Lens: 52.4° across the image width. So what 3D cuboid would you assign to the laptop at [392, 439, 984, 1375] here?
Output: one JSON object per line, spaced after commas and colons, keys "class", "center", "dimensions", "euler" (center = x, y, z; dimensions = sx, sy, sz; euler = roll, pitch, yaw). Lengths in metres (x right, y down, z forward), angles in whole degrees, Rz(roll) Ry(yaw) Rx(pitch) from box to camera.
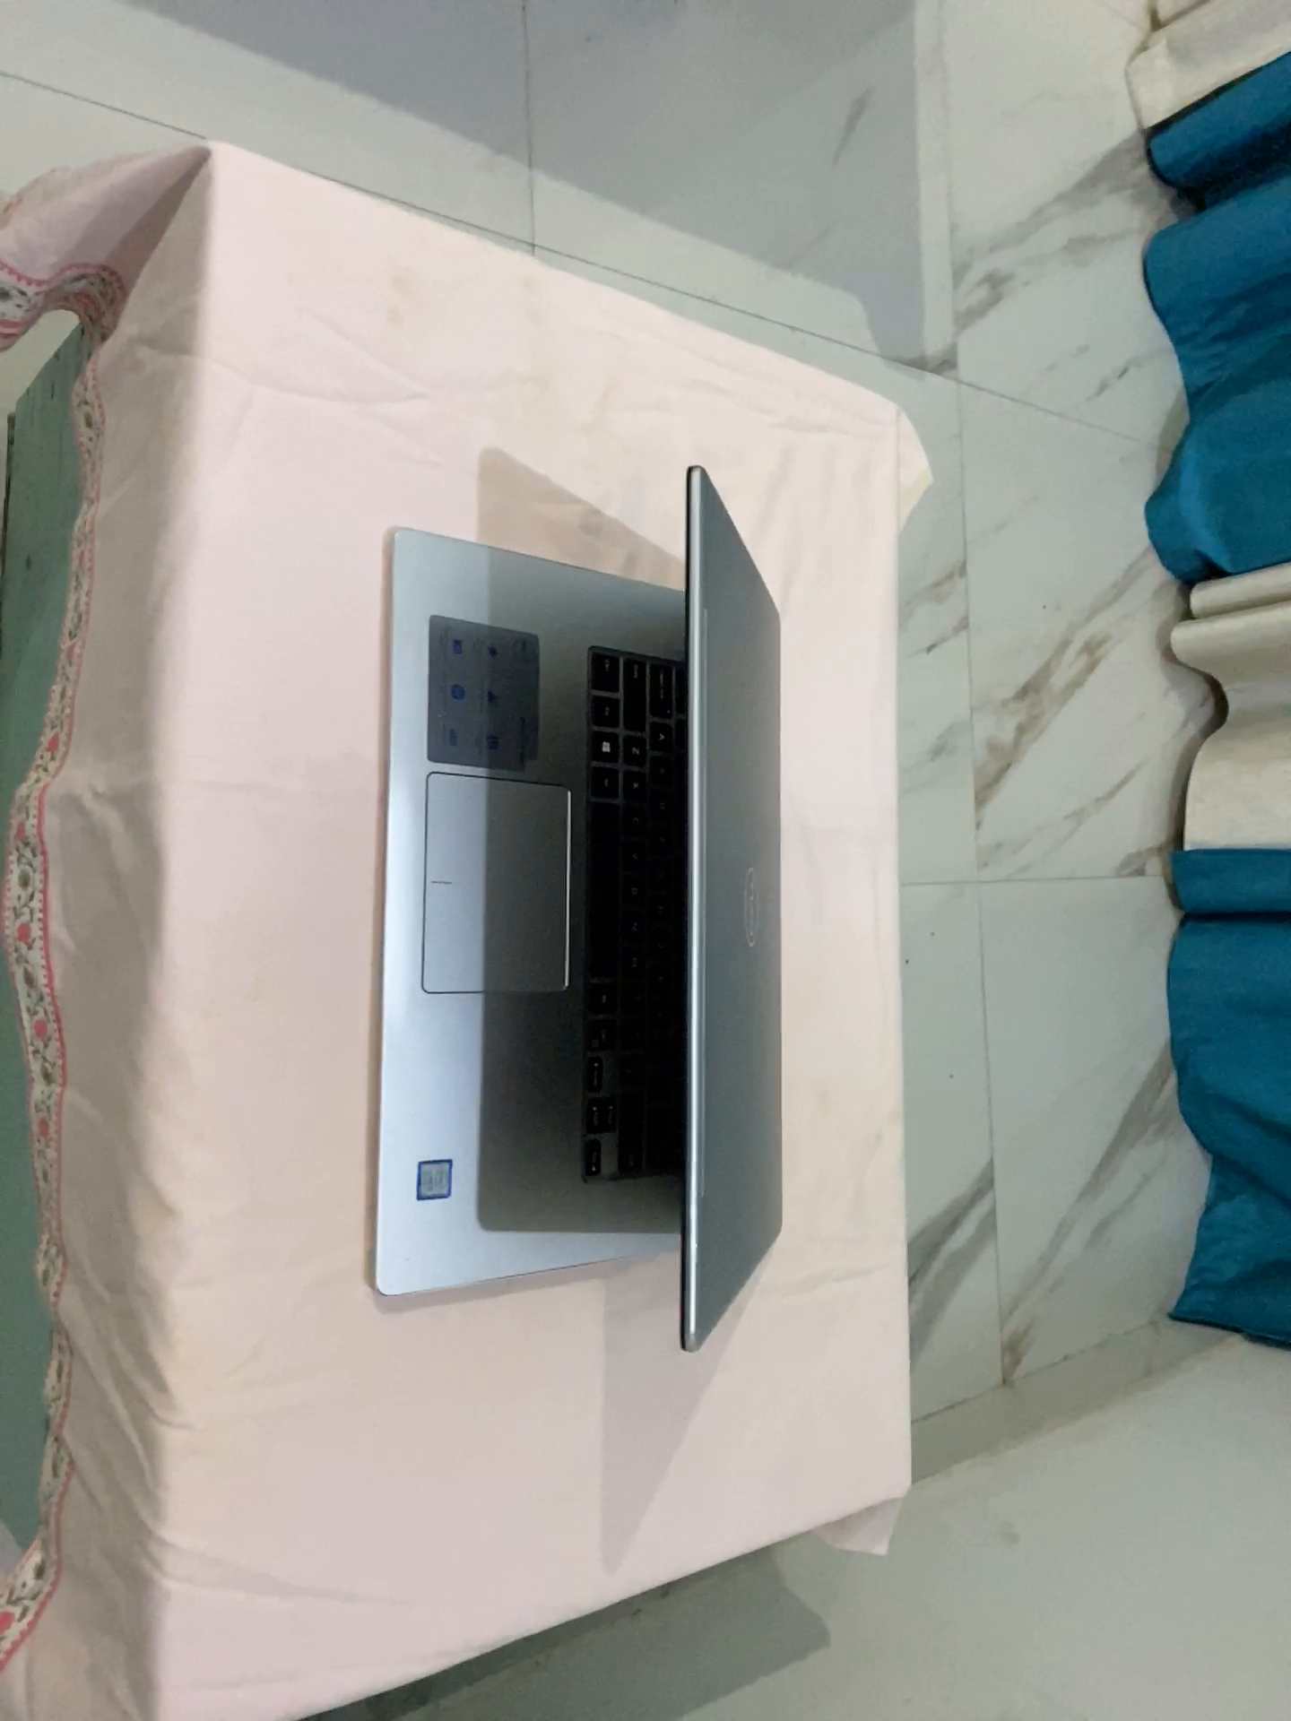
{"class": "laptop", "center": [0.023, 0.023, 0.618], "dimensions": [0.235, 0.149, 0.347], "euler": [3, 86, -38]}
